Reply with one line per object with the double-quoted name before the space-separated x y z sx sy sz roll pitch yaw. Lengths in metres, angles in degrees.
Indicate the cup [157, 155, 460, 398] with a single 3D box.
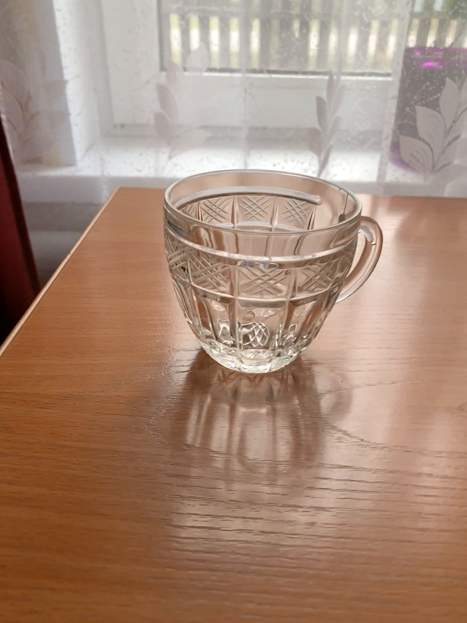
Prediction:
"cup" 0.021 -0.021 0.213 0.100 0.066 0.083 -5 35 -10
